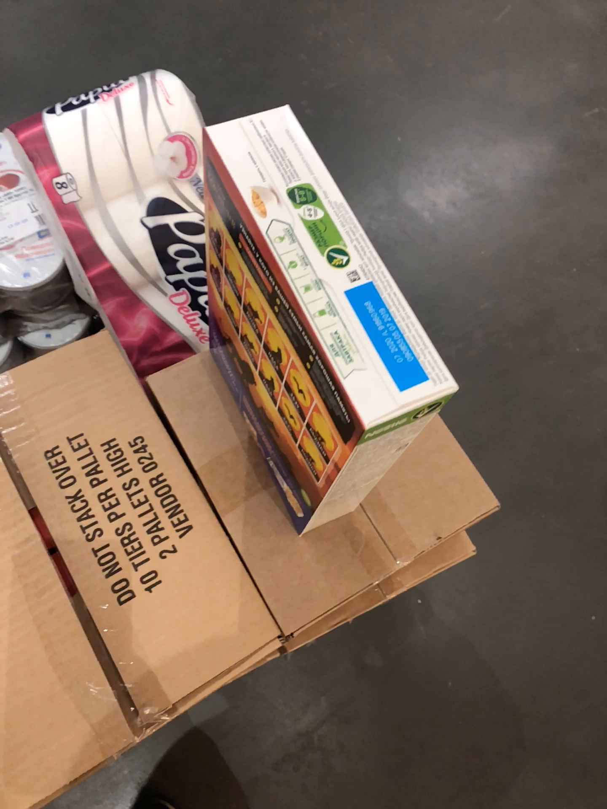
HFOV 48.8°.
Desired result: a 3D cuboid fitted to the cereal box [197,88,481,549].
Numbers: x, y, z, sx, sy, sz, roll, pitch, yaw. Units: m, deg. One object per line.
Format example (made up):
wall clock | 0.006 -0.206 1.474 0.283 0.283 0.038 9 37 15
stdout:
cereal box | -0.004 -0.026 0.459 0.060 0.279 0.200 -22 74 -15
